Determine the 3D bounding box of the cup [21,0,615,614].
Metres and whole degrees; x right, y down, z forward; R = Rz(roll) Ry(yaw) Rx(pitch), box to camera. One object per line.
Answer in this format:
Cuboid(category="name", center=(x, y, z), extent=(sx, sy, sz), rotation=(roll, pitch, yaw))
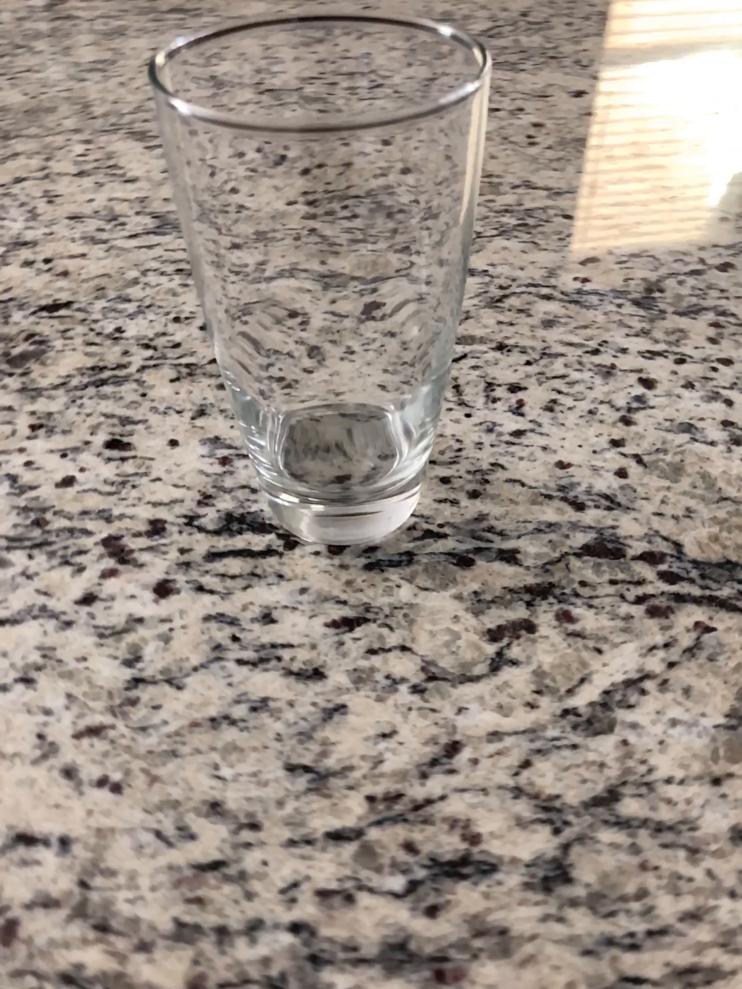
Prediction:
Cuboid(category="cup", center=(-0.008, -0.061, 0.239), extent=(0.100, 0.129, 0.101), rotation=(-1, 44, 1))
